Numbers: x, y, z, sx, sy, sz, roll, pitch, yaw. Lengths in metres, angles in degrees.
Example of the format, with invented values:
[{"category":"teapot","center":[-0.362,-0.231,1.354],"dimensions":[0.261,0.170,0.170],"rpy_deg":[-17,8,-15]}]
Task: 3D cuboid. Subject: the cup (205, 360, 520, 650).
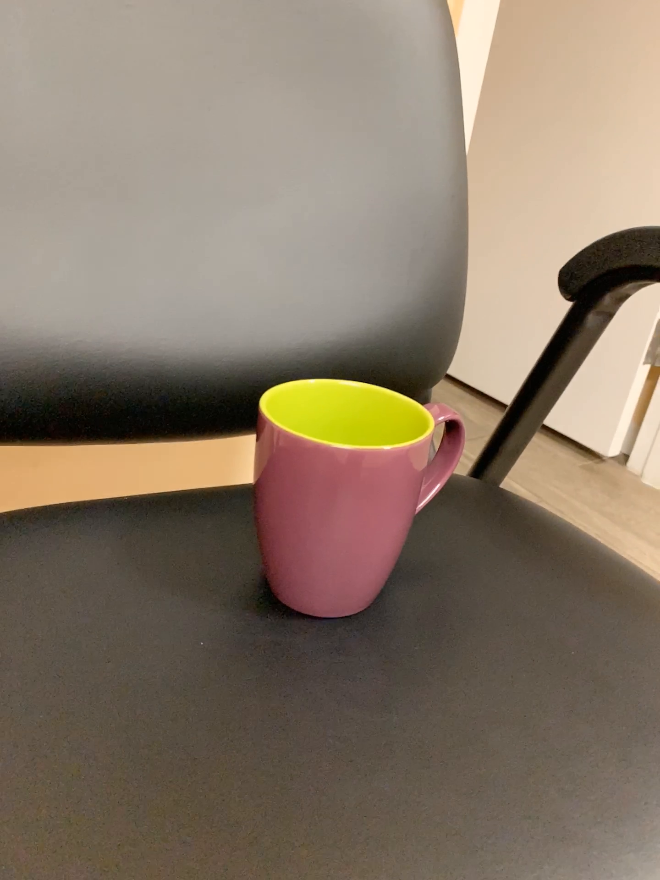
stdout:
[{"category":"cup","center":[0.016,0.027,0.393],"dimensions":[0.144,0.109,0.090],"rpy_deg":[-12,32,-37]}]
